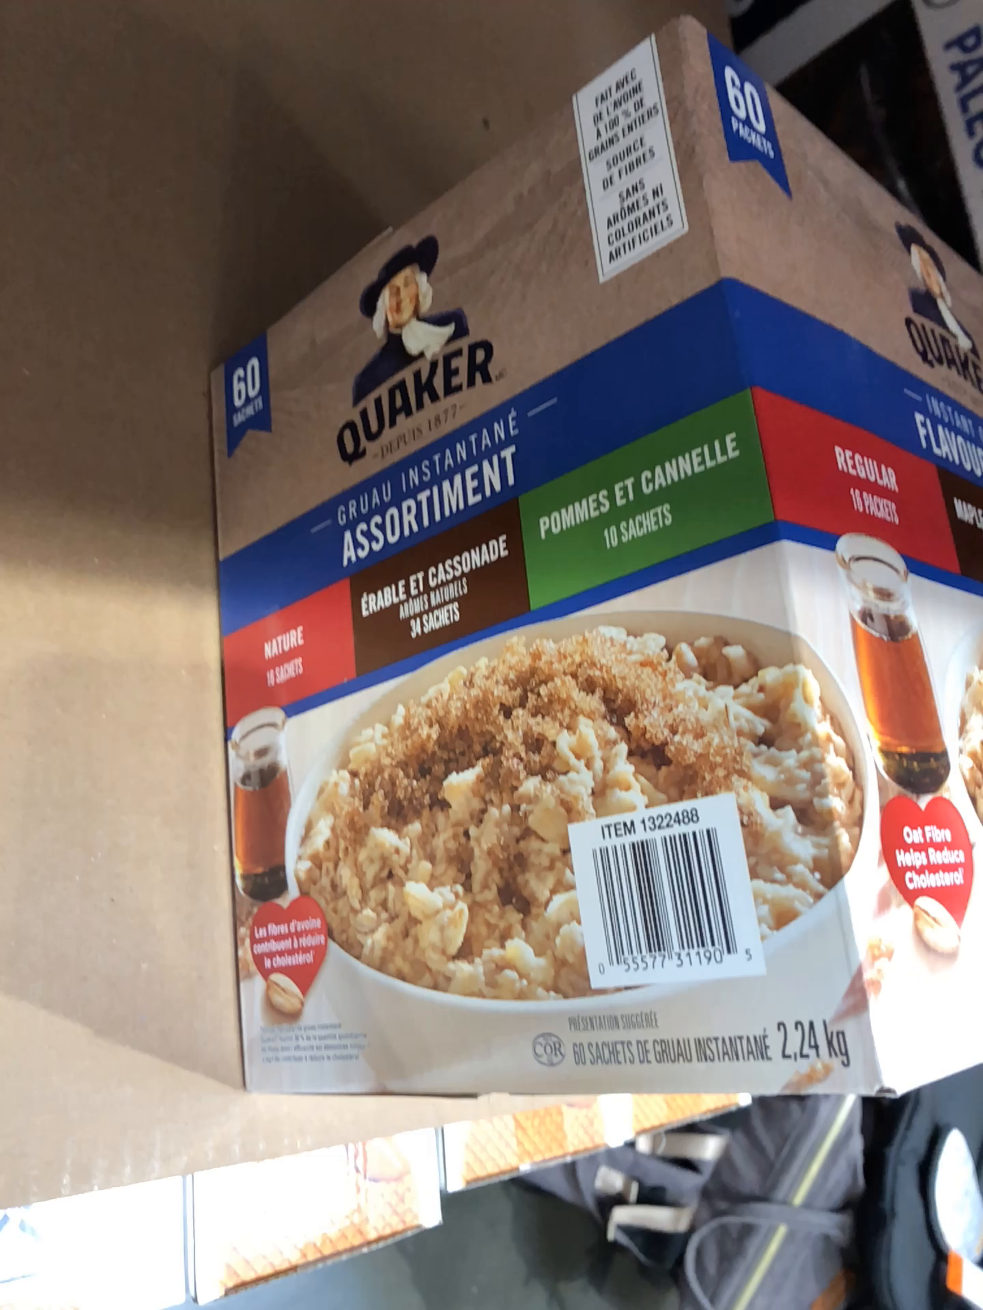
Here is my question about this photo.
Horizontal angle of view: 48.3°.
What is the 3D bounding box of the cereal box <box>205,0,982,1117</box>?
[{"bbox_3d":[0.070,-0.007,0.367,0.241,0.199,0.260,9,67,-45],"label":"cereal box"}]
